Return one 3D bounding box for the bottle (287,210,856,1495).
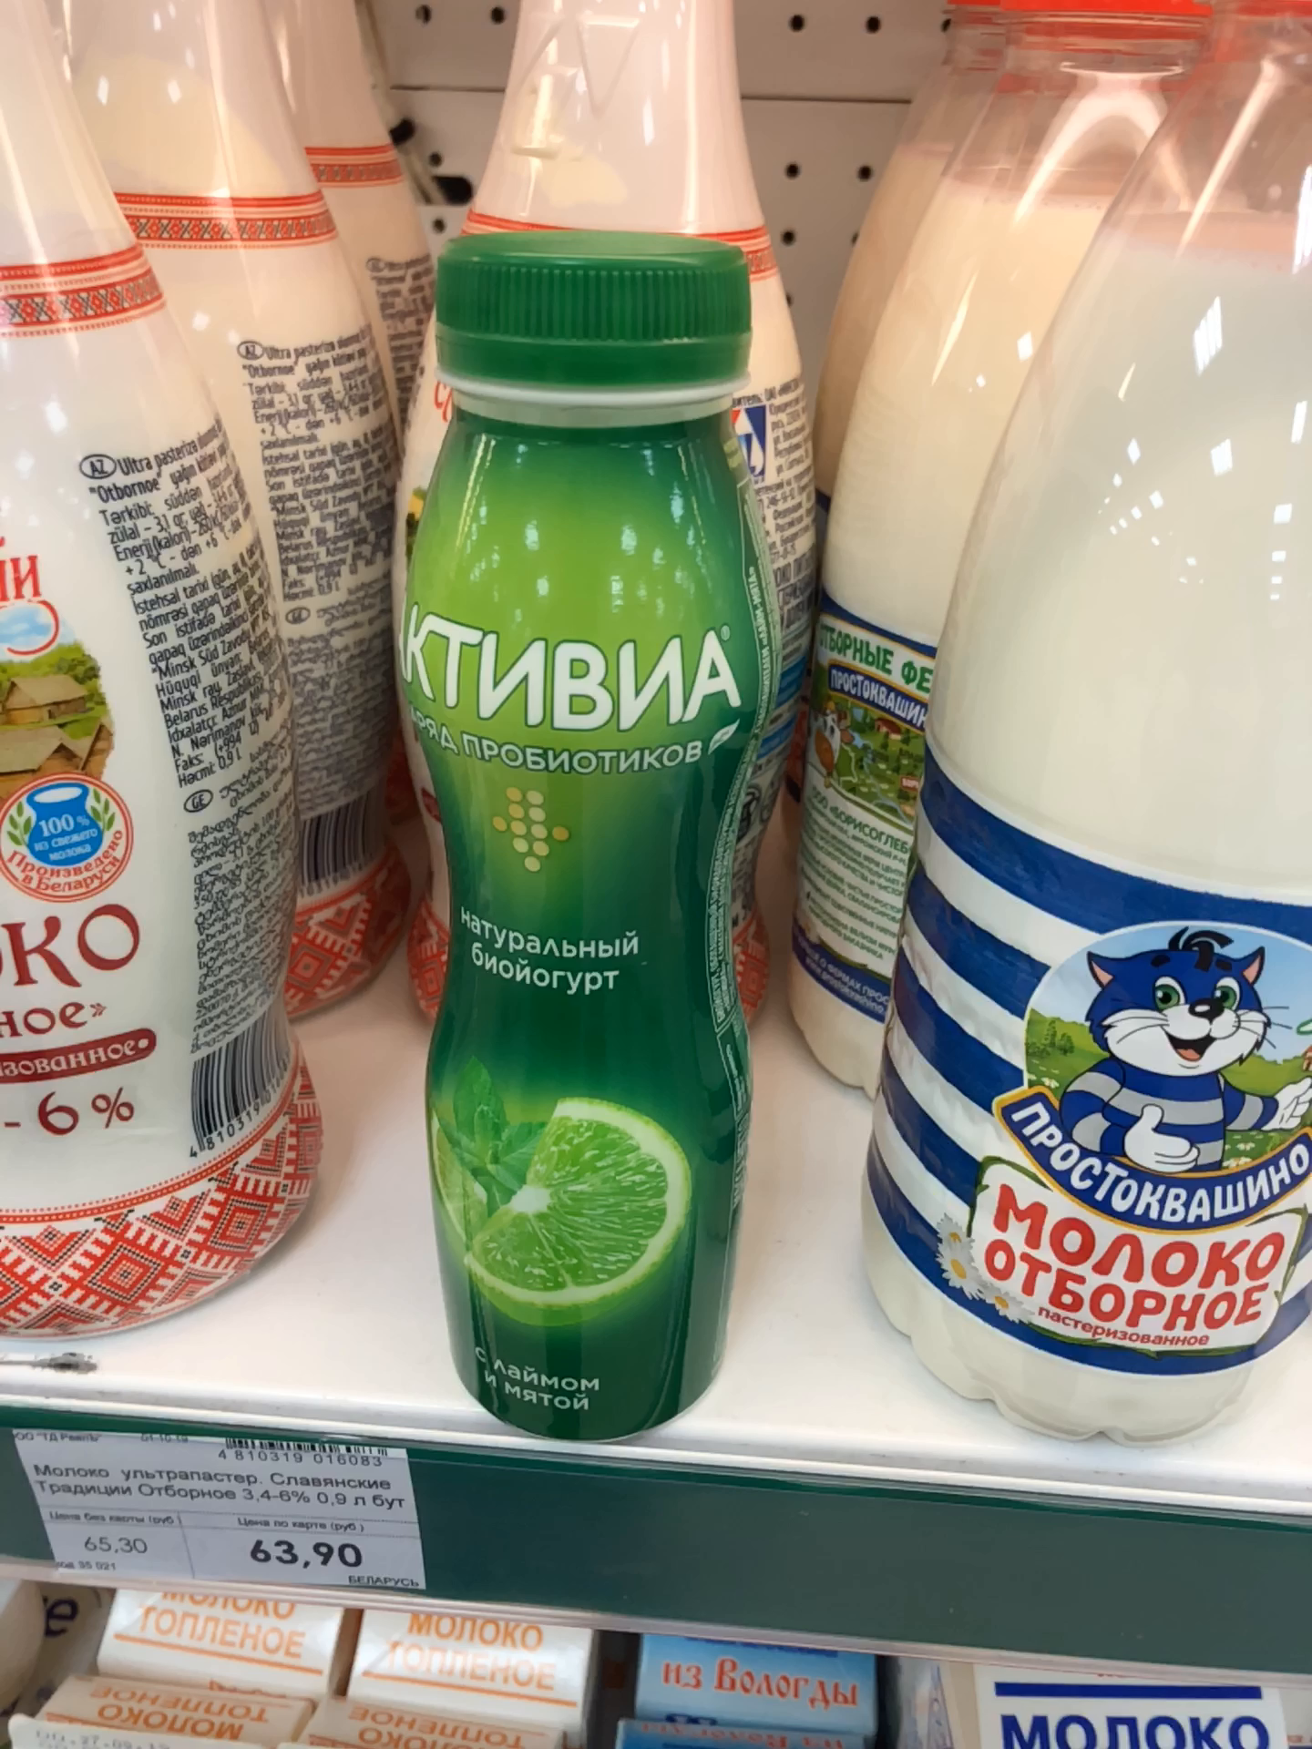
[{"bbox_3d":[-0.010,0.002,0.217,0.053,0.179,0.052,2,28,-1],"label":"bottle"}]
